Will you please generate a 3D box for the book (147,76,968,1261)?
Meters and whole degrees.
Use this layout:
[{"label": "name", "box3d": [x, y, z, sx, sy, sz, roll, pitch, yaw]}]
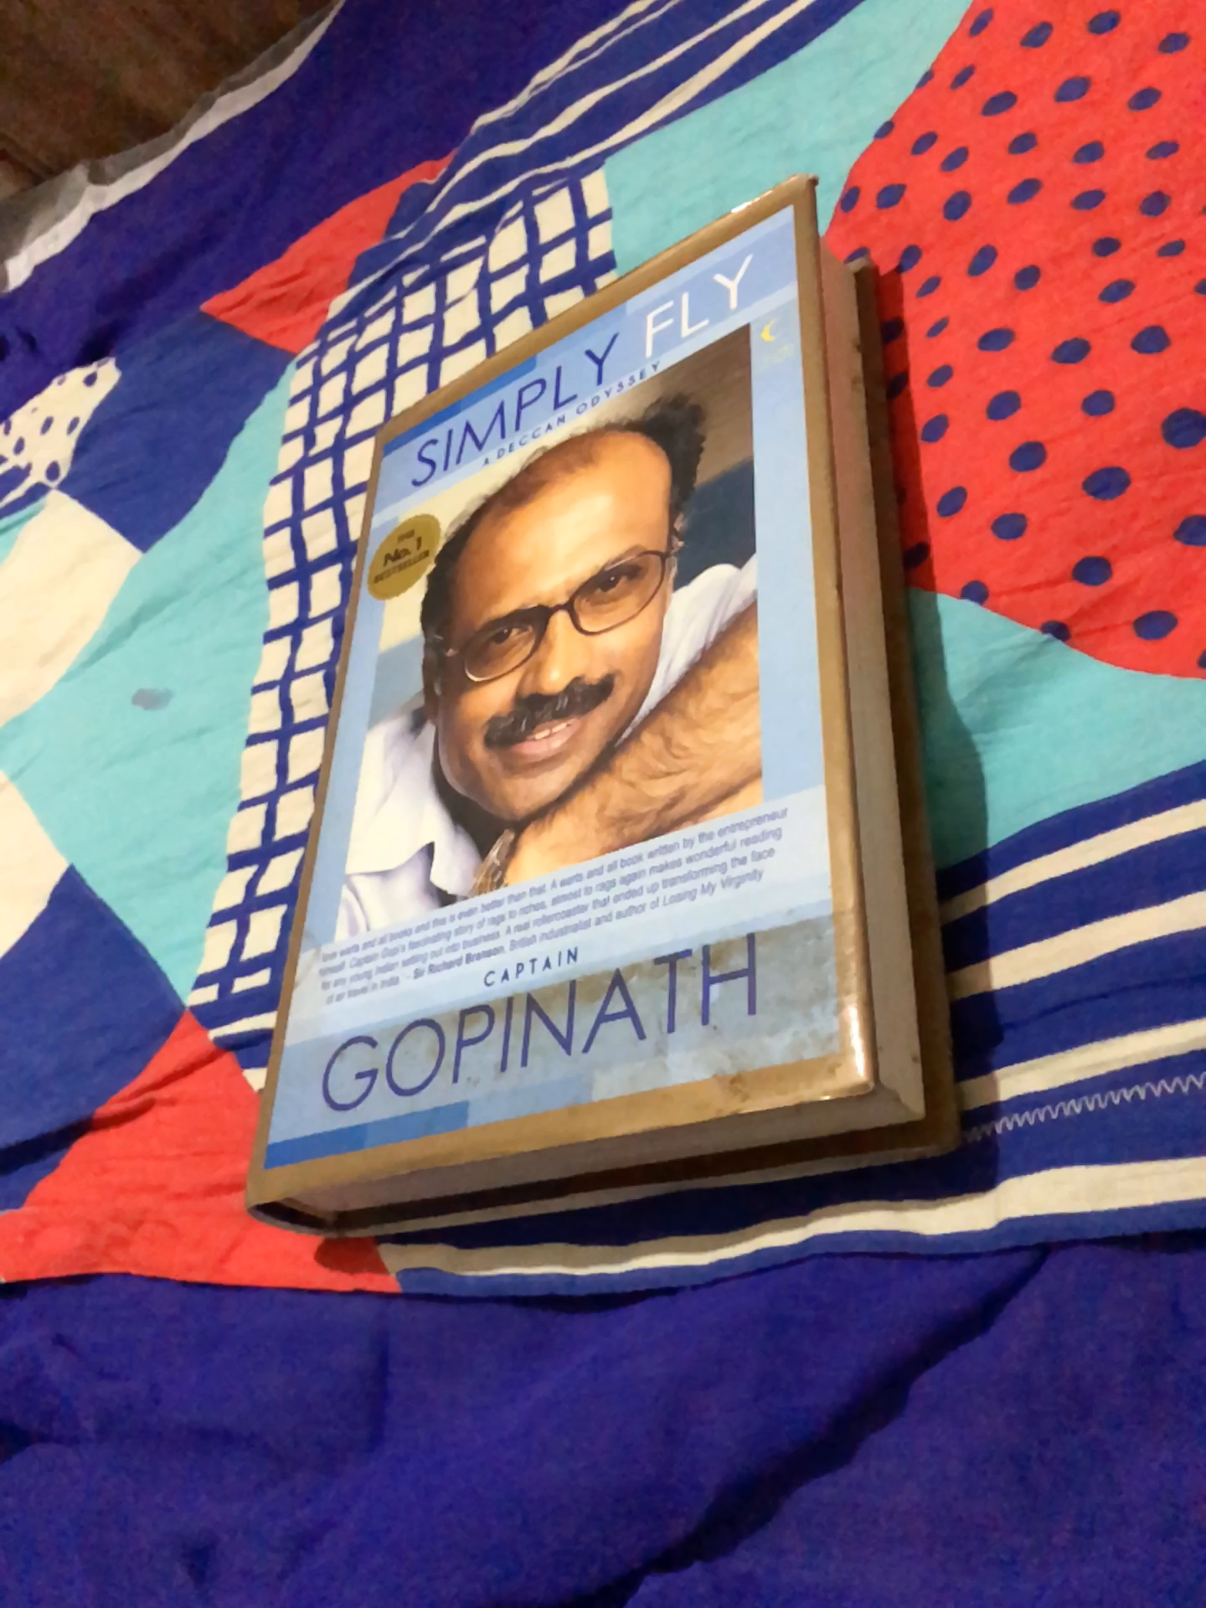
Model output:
[{"label": "book", "box3d": [-0.014, -0.033, 0.320, 0.160, 0.050, 0.250, -18, 56, 31]}]
